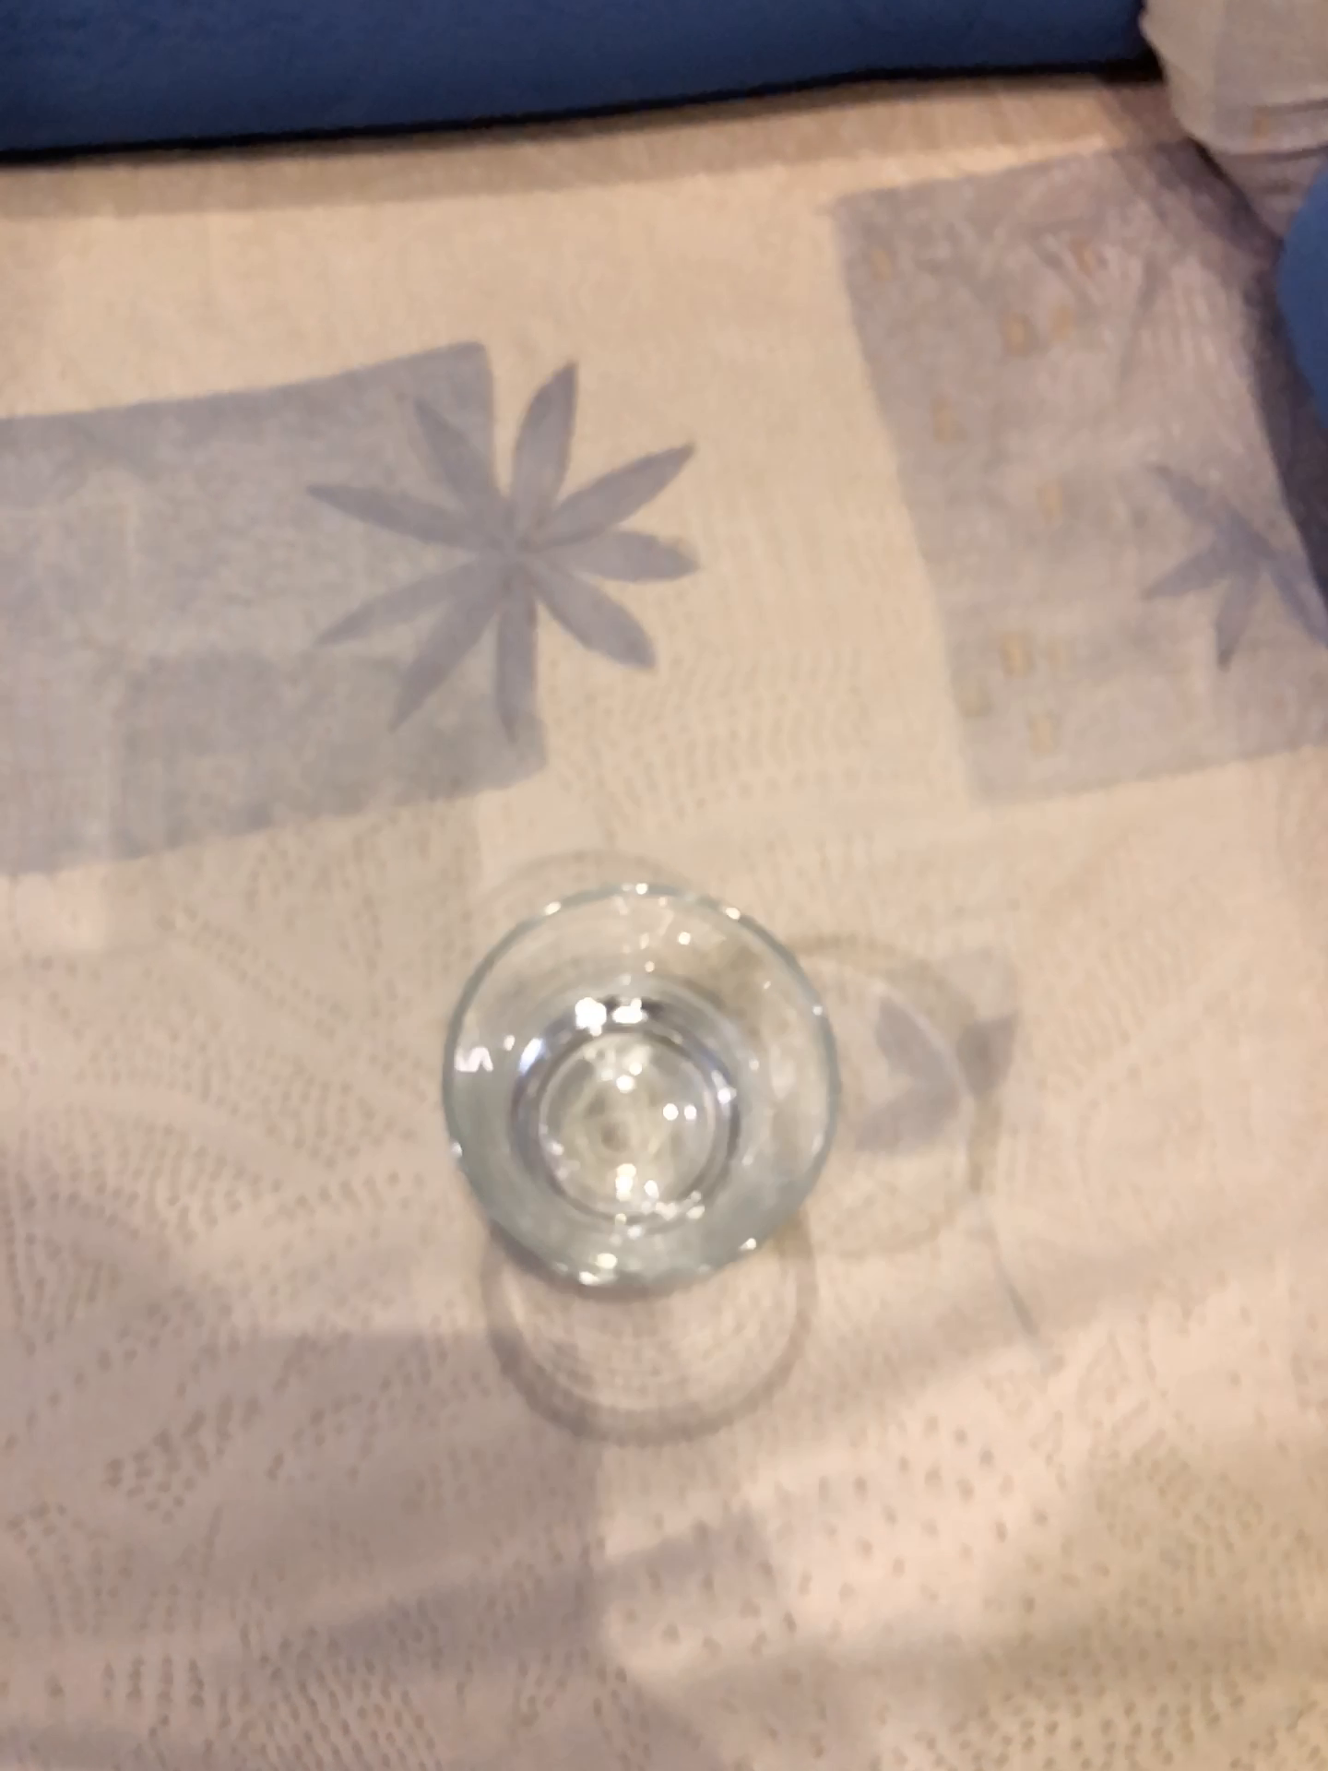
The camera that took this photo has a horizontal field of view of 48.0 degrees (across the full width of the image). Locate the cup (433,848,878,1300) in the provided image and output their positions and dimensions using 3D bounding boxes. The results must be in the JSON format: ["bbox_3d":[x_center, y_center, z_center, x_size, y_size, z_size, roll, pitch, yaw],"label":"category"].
[{"bbox_3d":[-0.006,0.046,0.342,0.086,0.083,0.085,1,71,-4],"label":"cup"}]
